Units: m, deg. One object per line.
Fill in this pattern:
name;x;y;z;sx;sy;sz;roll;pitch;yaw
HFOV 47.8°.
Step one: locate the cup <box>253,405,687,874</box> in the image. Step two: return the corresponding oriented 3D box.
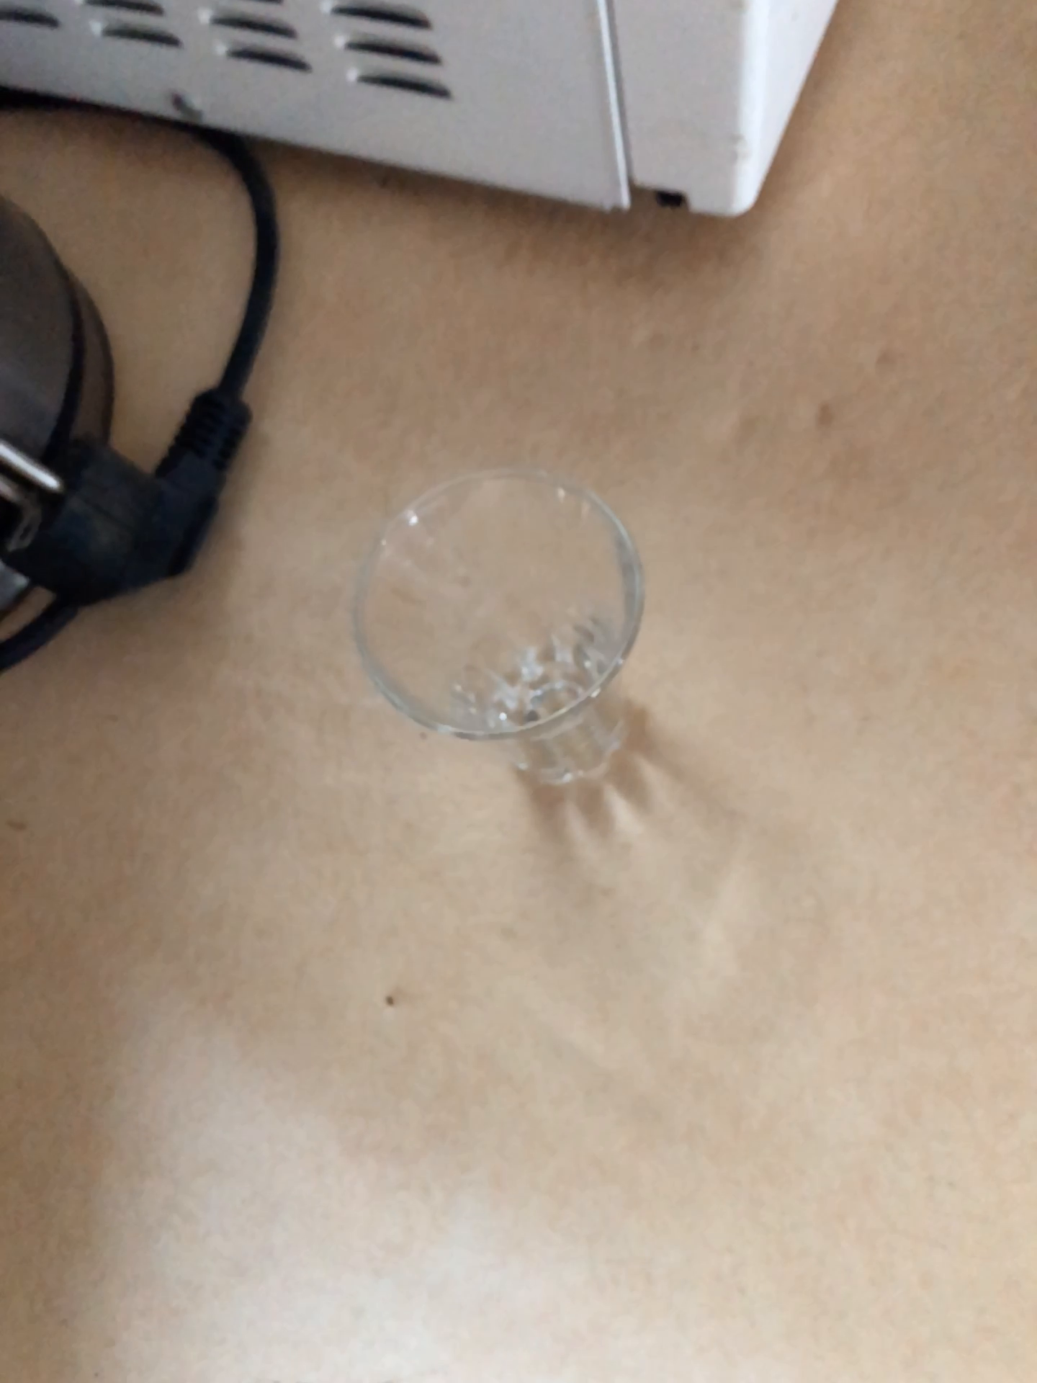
cup;-0.004;-0.006;0.226;0.050;0.070;0.050;-4;69;10
